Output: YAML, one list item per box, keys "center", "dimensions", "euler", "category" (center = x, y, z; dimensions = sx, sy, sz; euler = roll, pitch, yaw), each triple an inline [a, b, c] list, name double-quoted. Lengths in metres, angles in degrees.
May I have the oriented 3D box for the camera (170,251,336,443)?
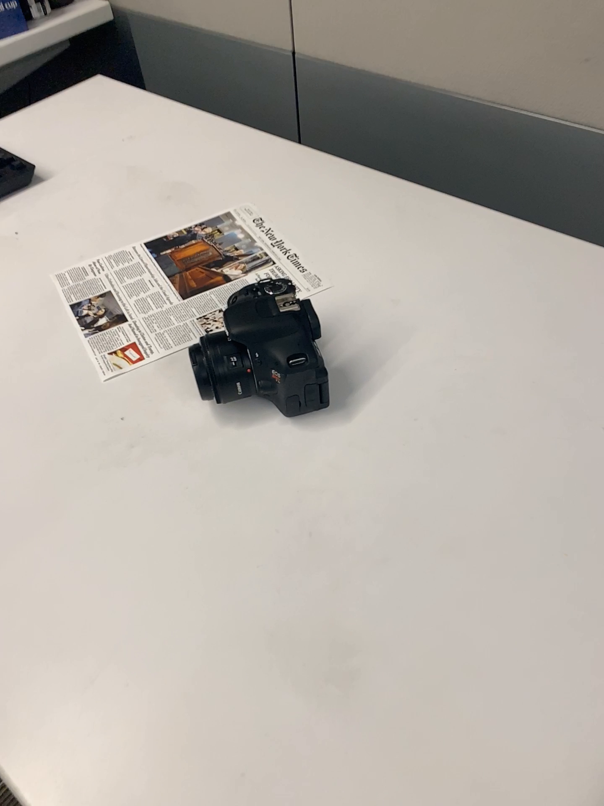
- center: [-0.047, -0.057, 0.589]
  dimensions: [0.119, 0.090, 0.137]
  euler: [-15, 49, -8]
  category: "camera"
